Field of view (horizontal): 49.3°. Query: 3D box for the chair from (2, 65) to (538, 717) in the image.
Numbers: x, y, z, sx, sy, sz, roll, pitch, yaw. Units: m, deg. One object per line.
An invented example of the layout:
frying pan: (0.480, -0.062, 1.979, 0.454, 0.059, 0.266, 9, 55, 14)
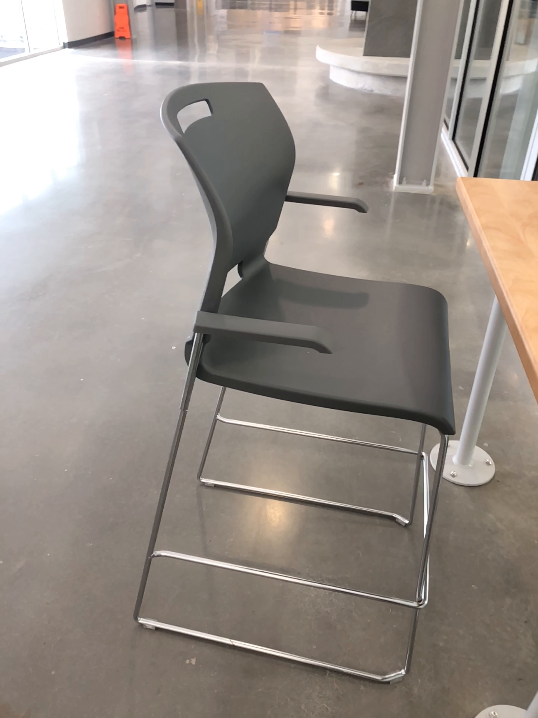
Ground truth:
chair: (0.057, 0.060, 1.176, 0.660, 1.073, 0.604, 7, 33, 9)
